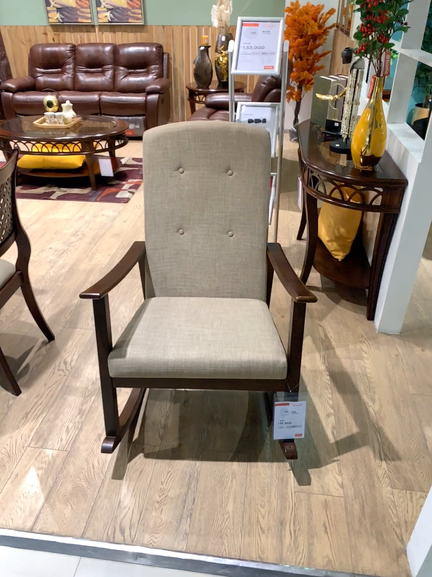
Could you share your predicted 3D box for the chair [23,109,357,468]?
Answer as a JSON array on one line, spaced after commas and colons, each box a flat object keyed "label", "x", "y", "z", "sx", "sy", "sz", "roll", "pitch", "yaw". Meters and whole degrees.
[{"label": "chair", "x": -0.052, "y": -0.038, "z": 1.577, "sx": 0.730, "sy": 0.976, "sz": 0.844, "roll": 0, "pitch": 33, "yaw": 1}]
